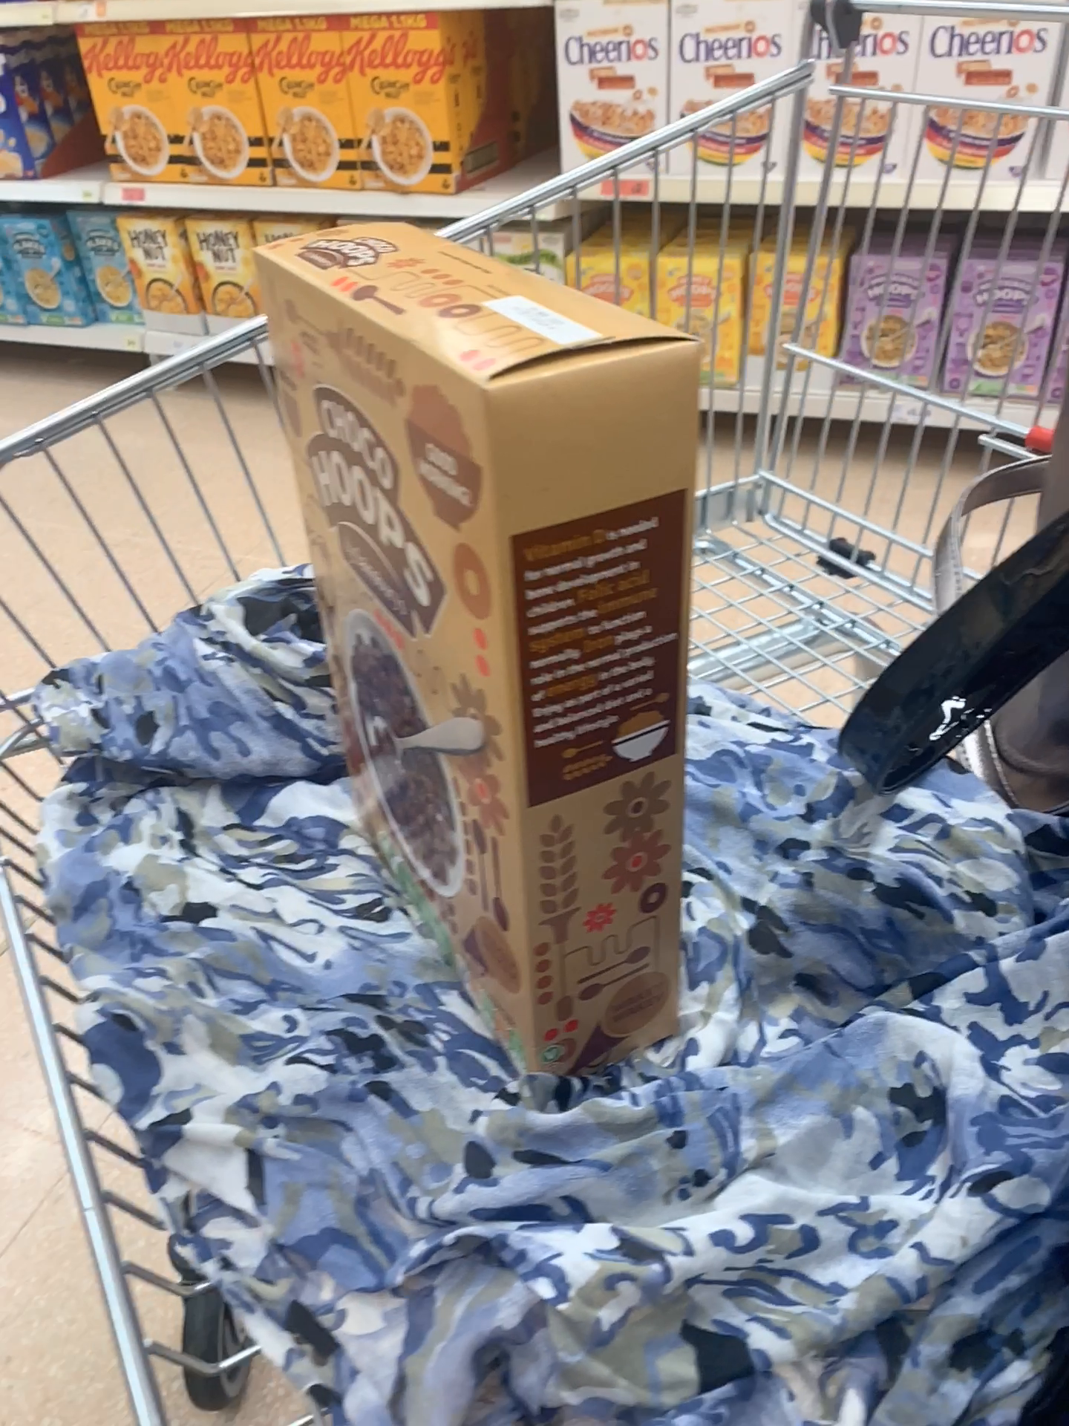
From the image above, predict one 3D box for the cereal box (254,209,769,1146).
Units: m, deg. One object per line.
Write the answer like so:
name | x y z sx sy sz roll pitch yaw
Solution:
cereal box | -0.018 -0.018 0.437 0.070 0.297 0.222 -19 38 -22
